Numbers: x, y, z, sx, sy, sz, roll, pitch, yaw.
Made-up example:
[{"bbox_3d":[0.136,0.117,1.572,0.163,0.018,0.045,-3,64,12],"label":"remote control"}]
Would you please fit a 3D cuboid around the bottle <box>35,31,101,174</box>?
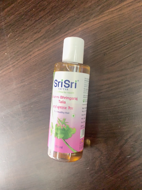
[{"bbox_3d":[-0.001,0.005,0.162,0.050,0.040,0.130,6,91,19],"label":"bottle"}]
